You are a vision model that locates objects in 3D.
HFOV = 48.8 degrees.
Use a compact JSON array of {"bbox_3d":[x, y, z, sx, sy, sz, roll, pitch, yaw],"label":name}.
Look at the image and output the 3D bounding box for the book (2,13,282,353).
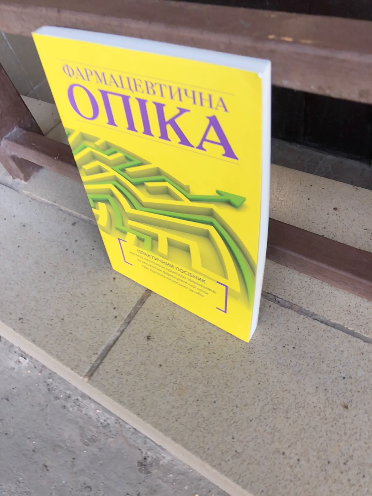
[{"bbox_3d":[-0.022,-0.035,0.313,0.180,0.239,0.030,25,55,28],"label":"book"}]
